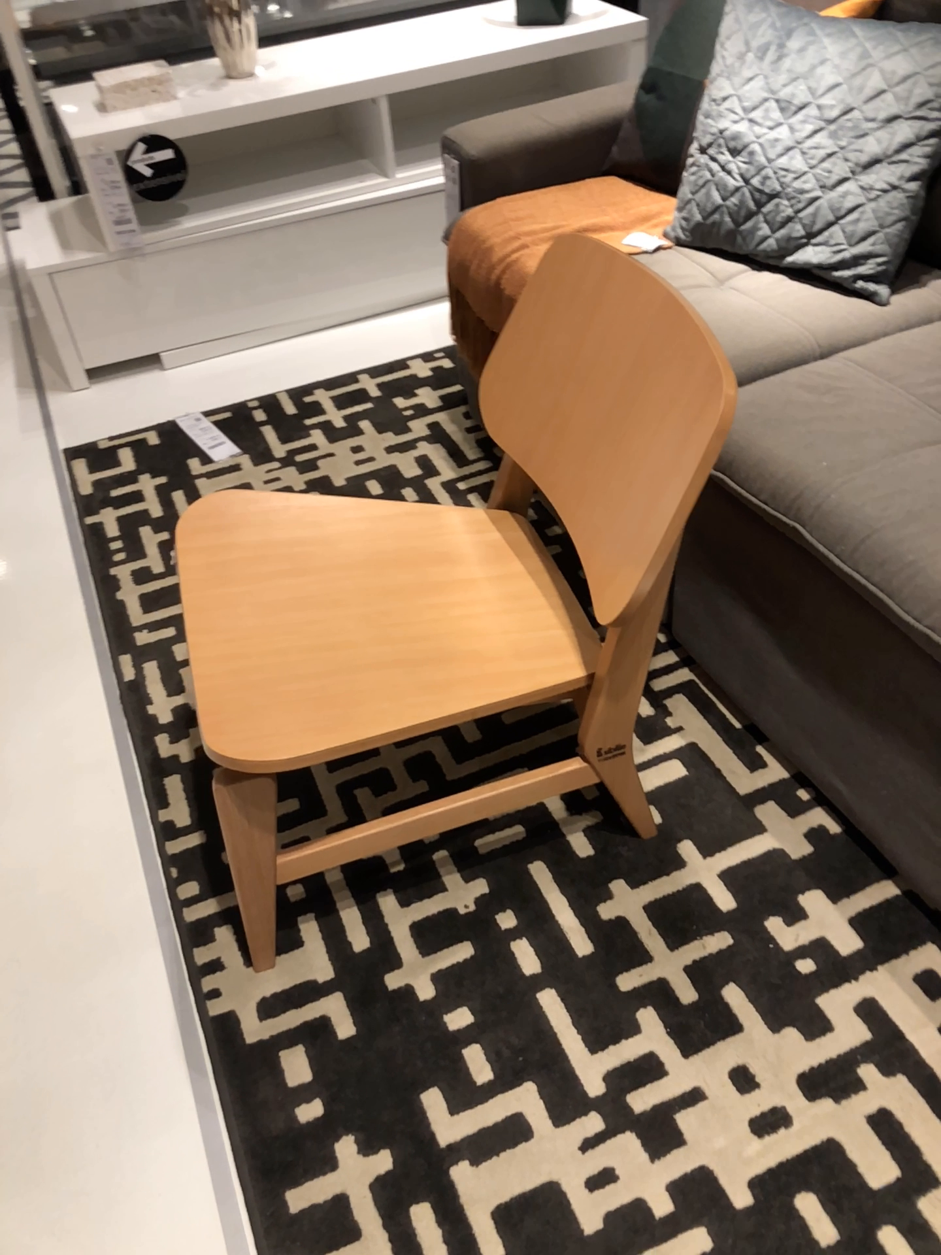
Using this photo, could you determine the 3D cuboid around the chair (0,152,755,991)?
[{"bbox_3d":[-0.137,-0.100,1.258,0.650,0.625,0.644,-15,43,-9],"label":"chair"}]
